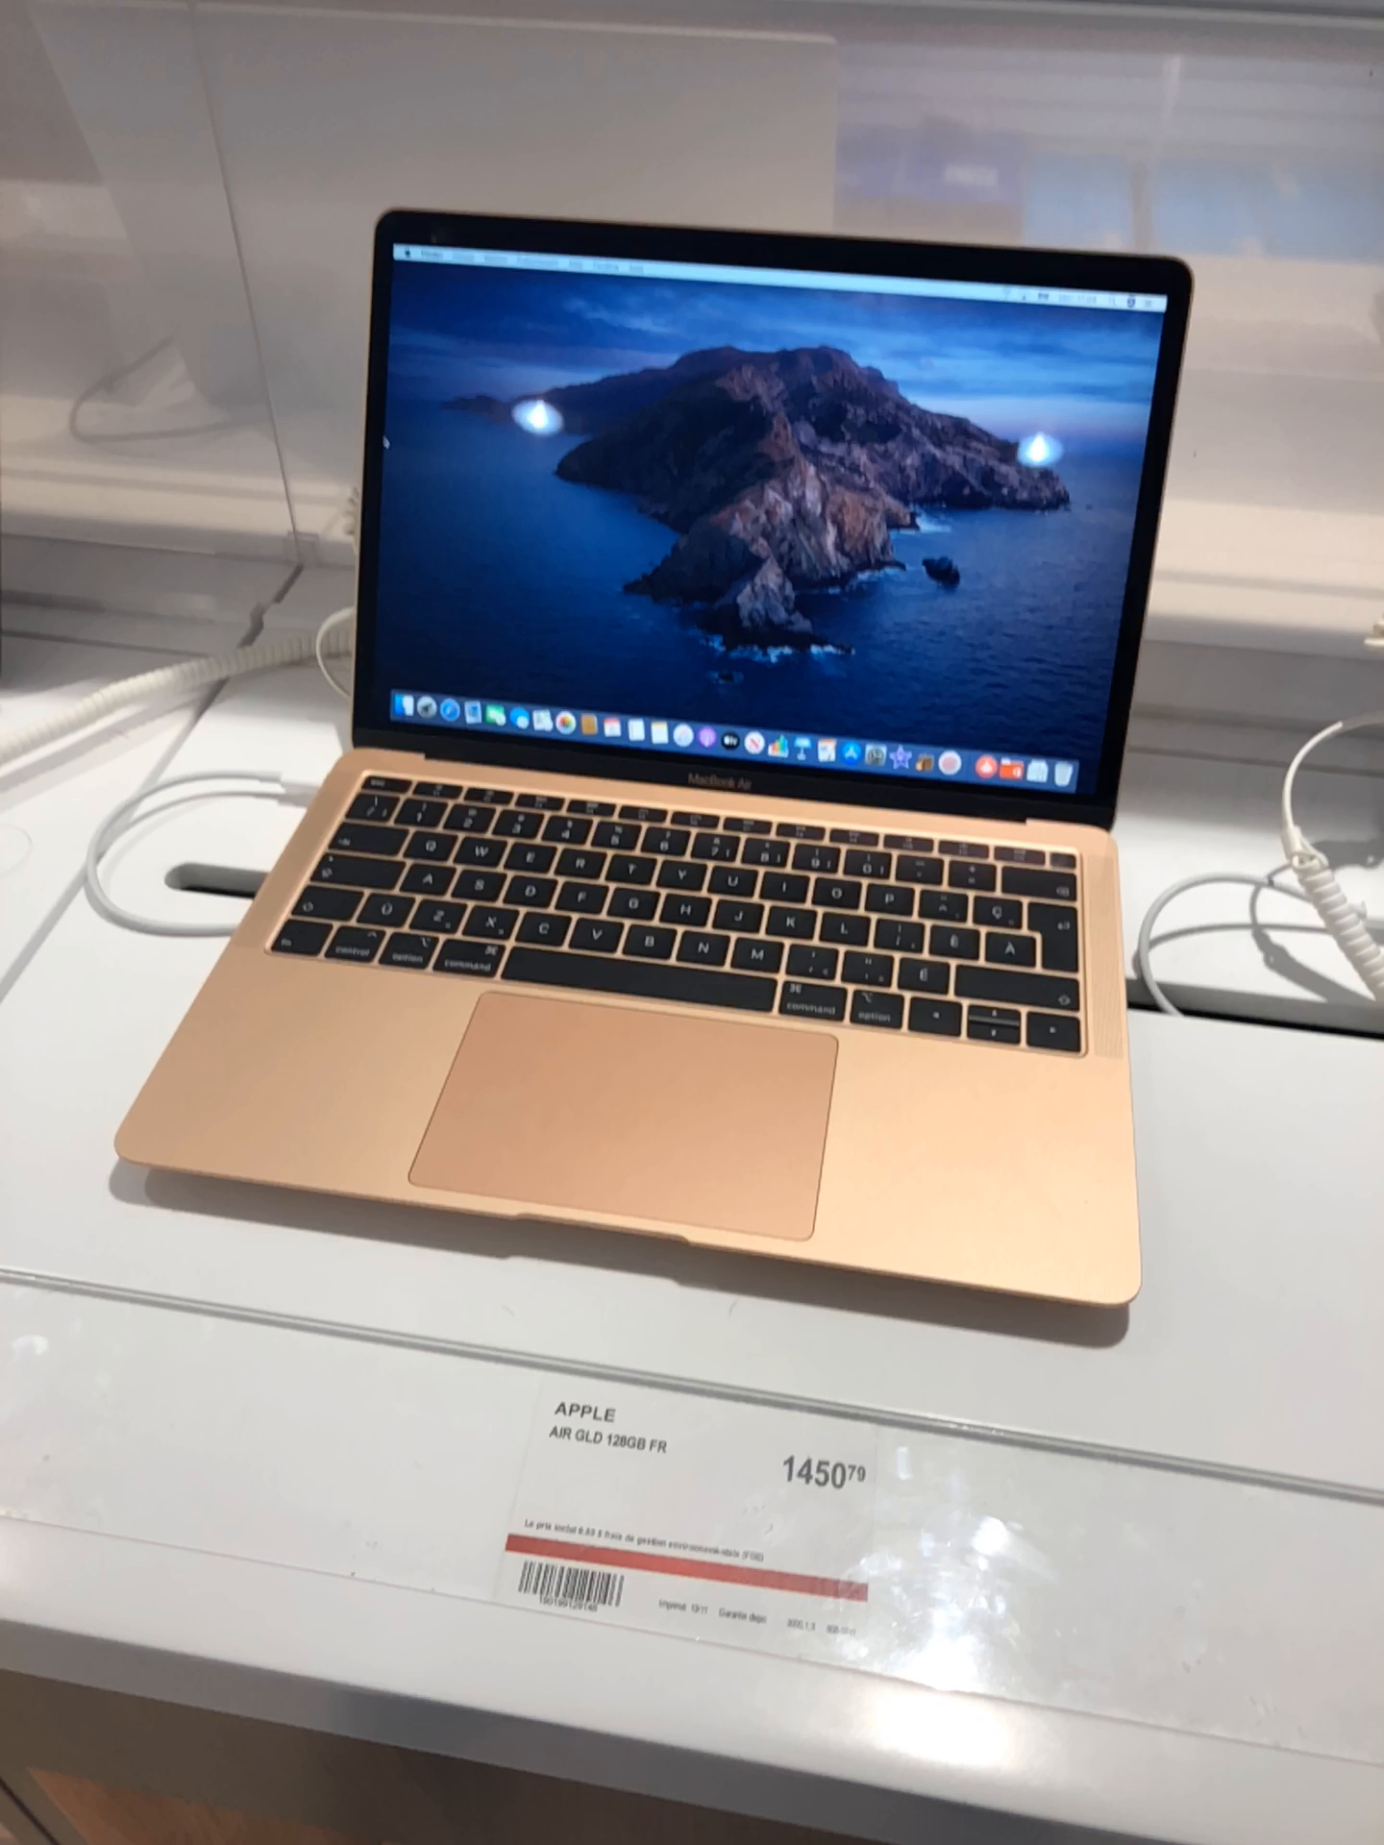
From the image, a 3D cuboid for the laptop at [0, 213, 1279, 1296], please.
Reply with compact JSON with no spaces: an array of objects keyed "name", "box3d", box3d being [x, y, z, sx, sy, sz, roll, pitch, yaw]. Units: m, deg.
[{"name":"laptop","box3d":[0.001,-0.079,0.494,0.291,0.170,0.304,7,44,7]}]
